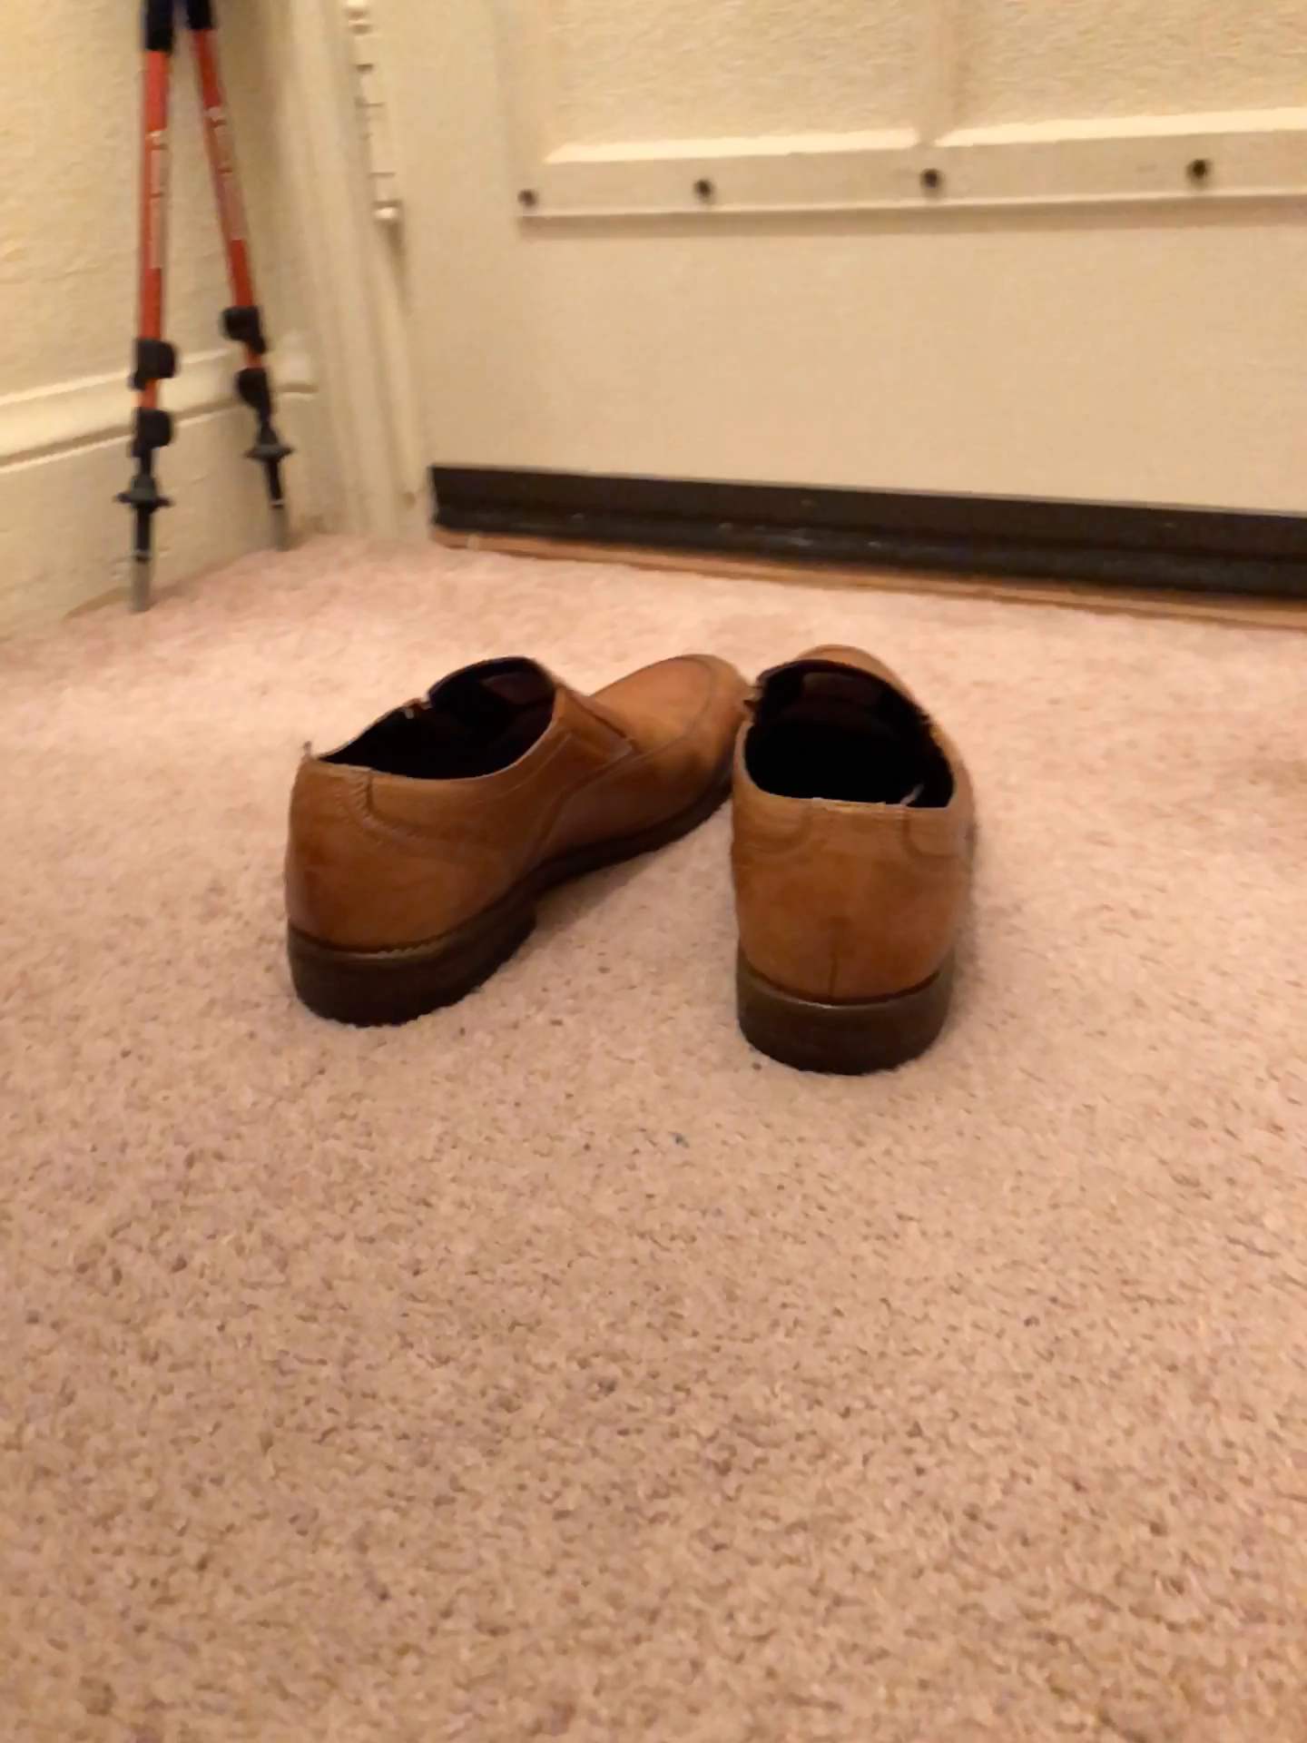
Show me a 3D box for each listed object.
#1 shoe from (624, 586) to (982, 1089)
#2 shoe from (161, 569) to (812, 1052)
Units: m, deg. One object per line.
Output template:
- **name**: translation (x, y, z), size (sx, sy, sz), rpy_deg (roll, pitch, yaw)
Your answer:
- **shoe**: translation (0.078, -0.037, 0.593), size (0.107, 0.089, 0.312), rpy_deg (2, 25, 12)
- **shoe**: translation (-0.046, -0.048, 0.623), size (0.100, 0.090, 0.321), rpy_deg (12, 28, 28)
